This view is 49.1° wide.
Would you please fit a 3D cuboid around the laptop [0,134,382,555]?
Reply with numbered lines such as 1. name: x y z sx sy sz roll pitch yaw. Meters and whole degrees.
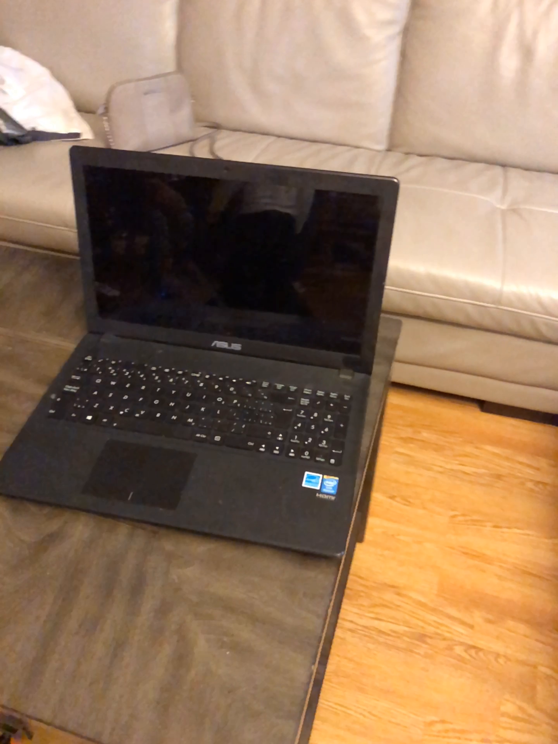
1. laptop: -0.095 -0.050 0.633 0.356 0.216 0.317 9 46 8
